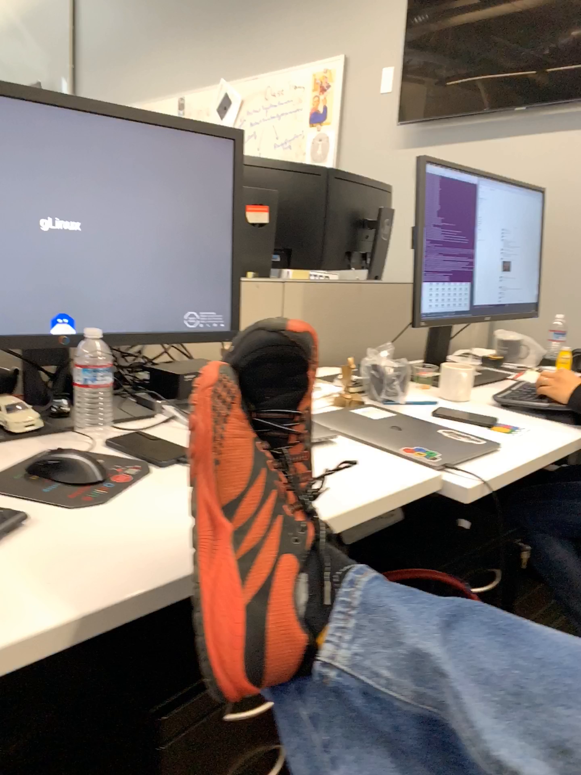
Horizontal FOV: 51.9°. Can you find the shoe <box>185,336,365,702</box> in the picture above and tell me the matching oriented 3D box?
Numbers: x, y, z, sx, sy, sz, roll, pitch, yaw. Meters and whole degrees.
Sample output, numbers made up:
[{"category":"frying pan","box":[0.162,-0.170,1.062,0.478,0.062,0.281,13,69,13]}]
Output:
[{"category":"shoe","box":[-0.025,0.106,0.530,0.132,0.290,0.091,0,-22,-9]}]

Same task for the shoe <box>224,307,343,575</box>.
[{"category":"shoe","box":[-0.013,0.055,0.648,0.107,0.272,0.083,-2,16,-13]}]
